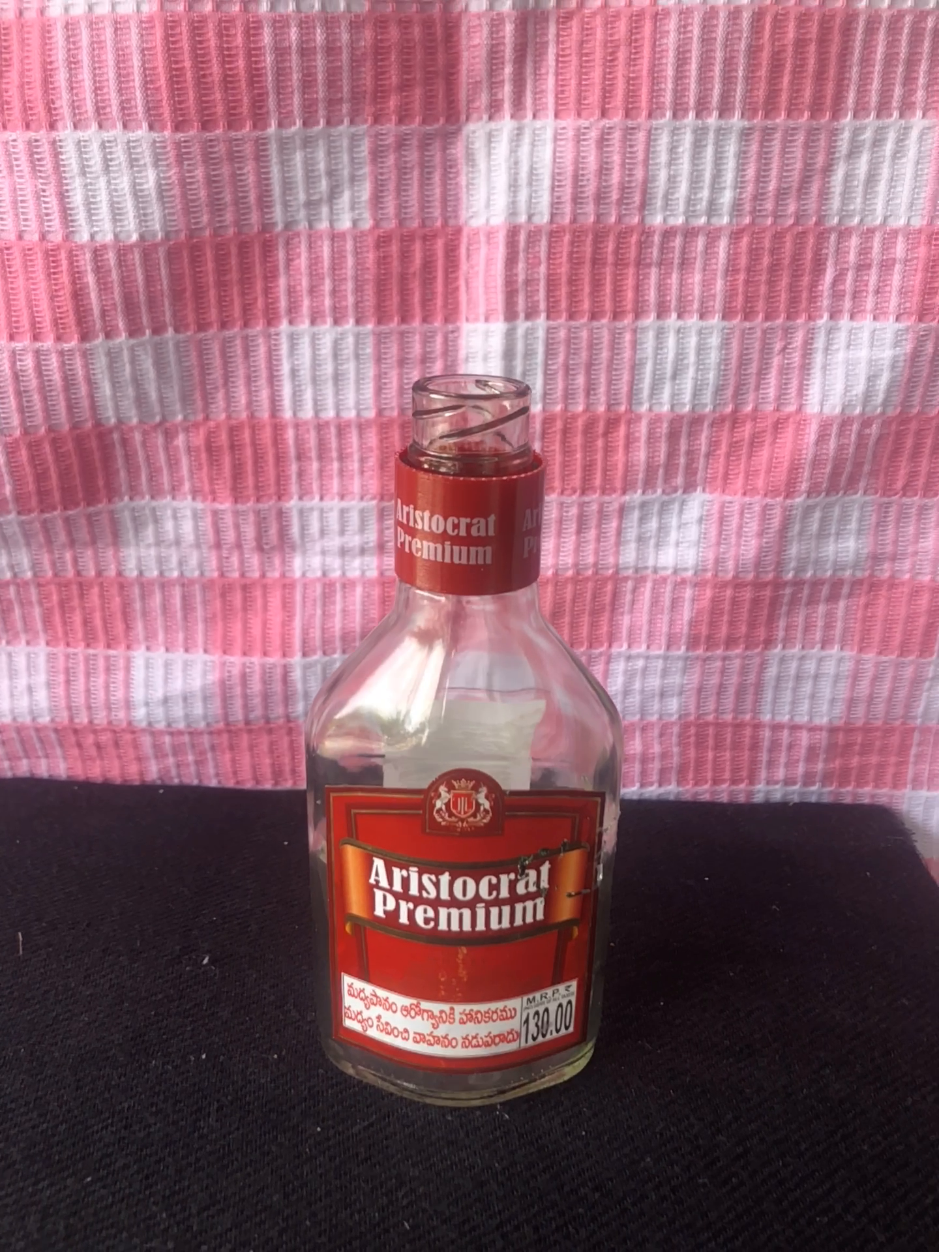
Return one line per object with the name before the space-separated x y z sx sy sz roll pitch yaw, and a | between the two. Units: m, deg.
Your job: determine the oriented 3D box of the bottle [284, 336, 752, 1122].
bottle | 0.004 0.024 0.211 0.070 0.149 0.050 2 25 -1
